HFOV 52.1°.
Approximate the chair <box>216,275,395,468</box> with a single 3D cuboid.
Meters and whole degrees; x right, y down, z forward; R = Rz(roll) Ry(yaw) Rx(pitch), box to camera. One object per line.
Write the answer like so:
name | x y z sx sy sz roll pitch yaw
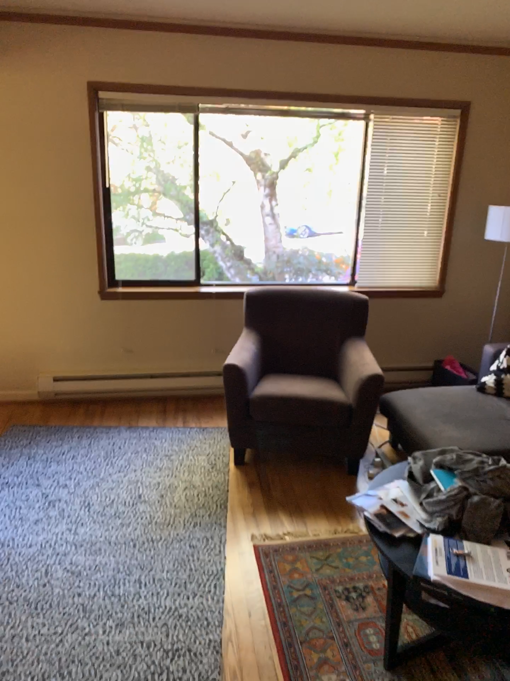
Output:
chair | 0.273 0.130 3.116 0.880 0.877 0.803 3 15 4
